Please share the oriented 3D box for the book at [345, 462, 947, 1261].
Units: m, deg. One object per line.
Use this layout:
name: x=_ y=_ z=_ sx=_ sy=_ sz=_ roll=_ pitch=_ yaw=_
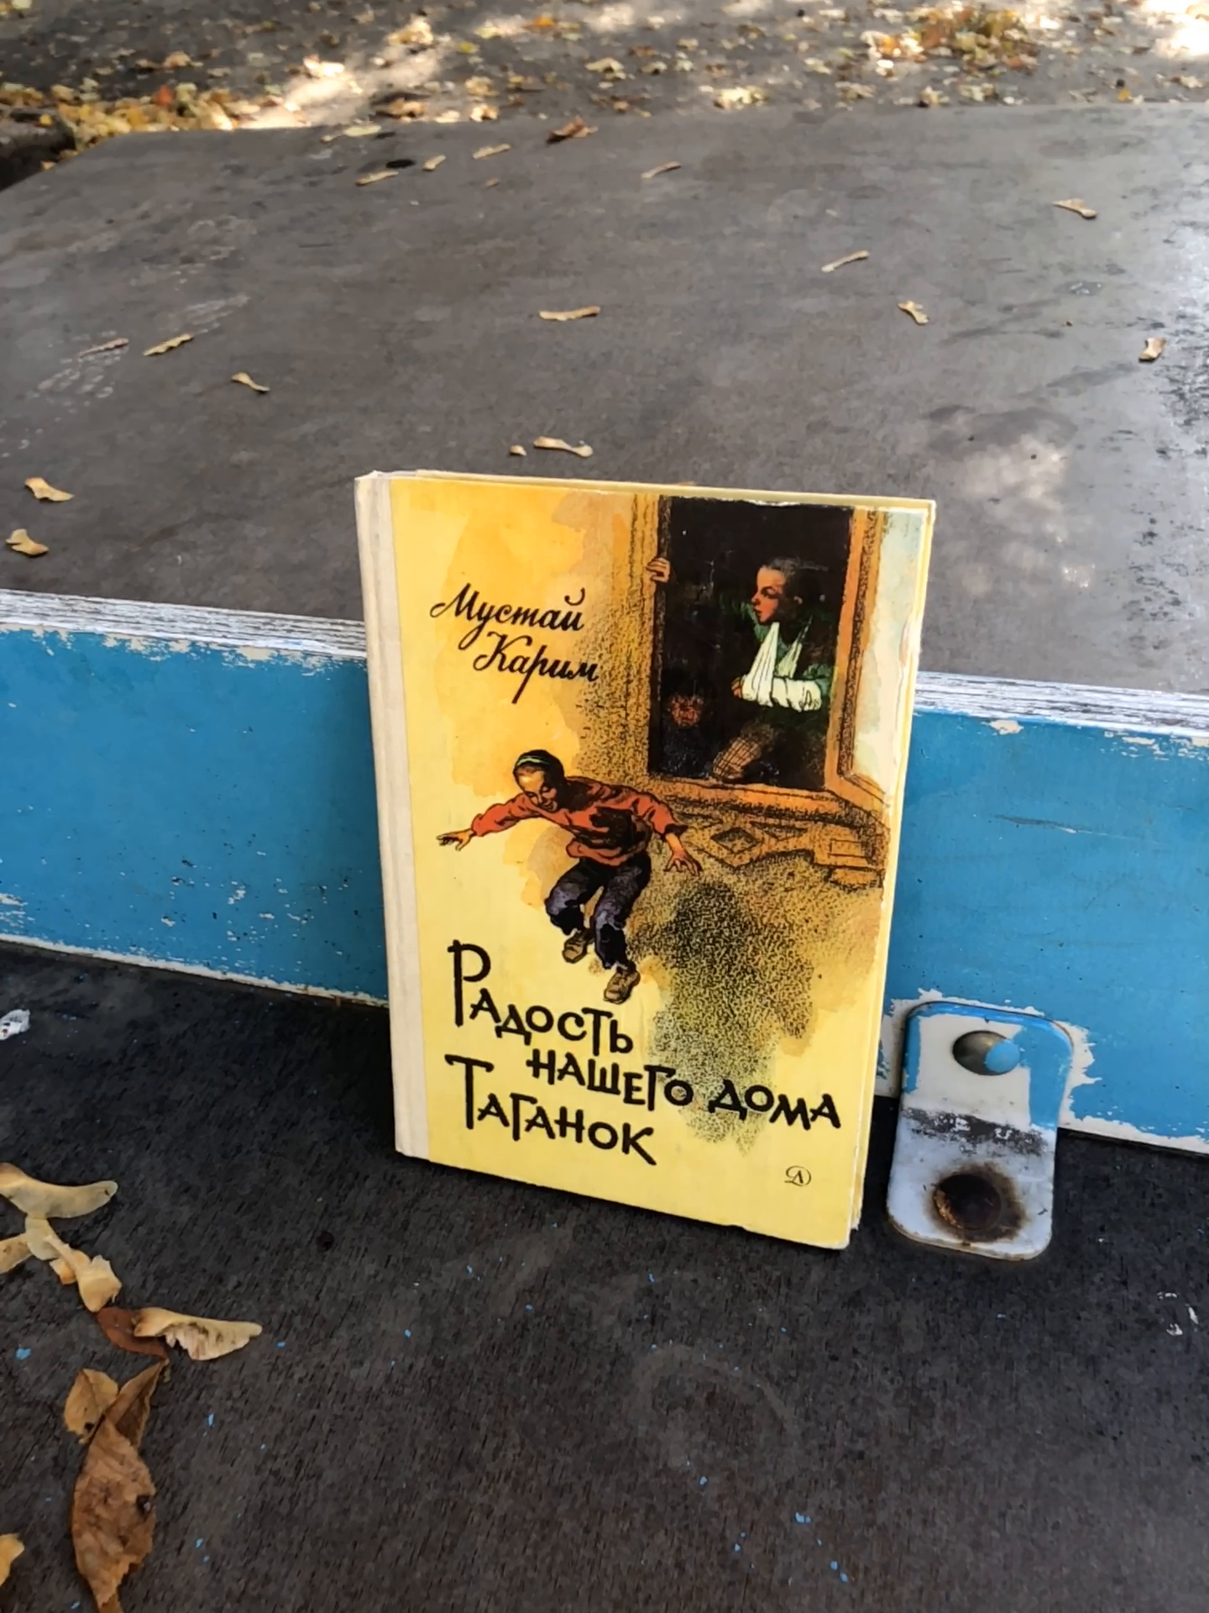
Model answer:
book: x=0.006 y=0.018 z=0.382 sx=0.155 sy=0.217 sz=0.020 roll=7 pitch=22 yaw=16
